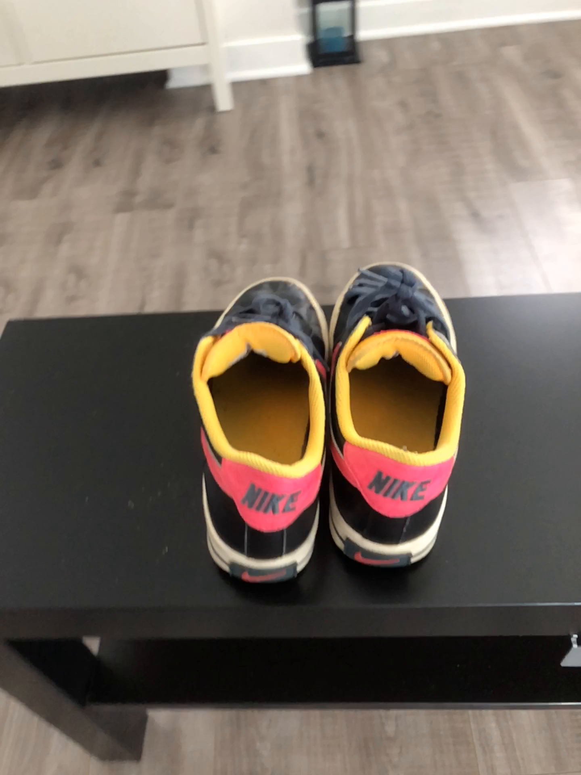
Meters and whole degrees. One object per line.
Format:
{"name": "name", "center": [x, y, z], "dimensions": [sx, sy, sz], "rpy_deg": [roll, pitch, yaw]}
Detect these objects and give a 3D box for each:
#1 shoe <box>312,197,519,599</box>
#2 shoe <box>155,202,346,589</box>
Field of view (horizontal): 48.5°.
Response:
{"name": "shoe", "center": [0.073, -0.007, 0.415], "dimensions": [0.095, 0.100, 0.245], "rpy_deg": [4, 50, 6]}
{"name": "shoe", "center": [-0.017, -0.007, 0.420], "dimensions": [0.090, 0.100, 0.245], "rpy_deg": [-1, 50, 1]}
